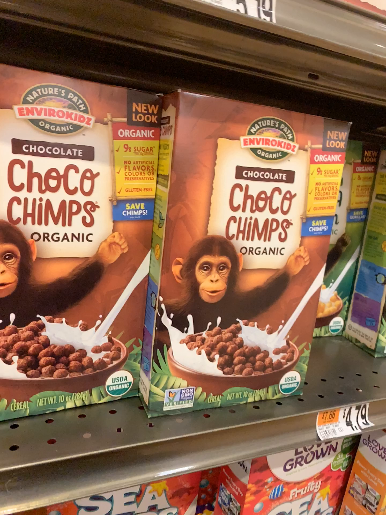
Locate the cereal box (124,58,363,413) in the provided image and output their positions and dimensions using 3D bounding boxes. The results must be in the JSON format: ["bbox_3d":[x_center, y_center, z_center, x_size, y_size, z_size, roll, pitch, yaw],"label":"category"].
[{"bbox_3d":[0.040,-0.010,0.358,0.170,0.269,0.060,1,13,-24],"label":"cereal box"}]
